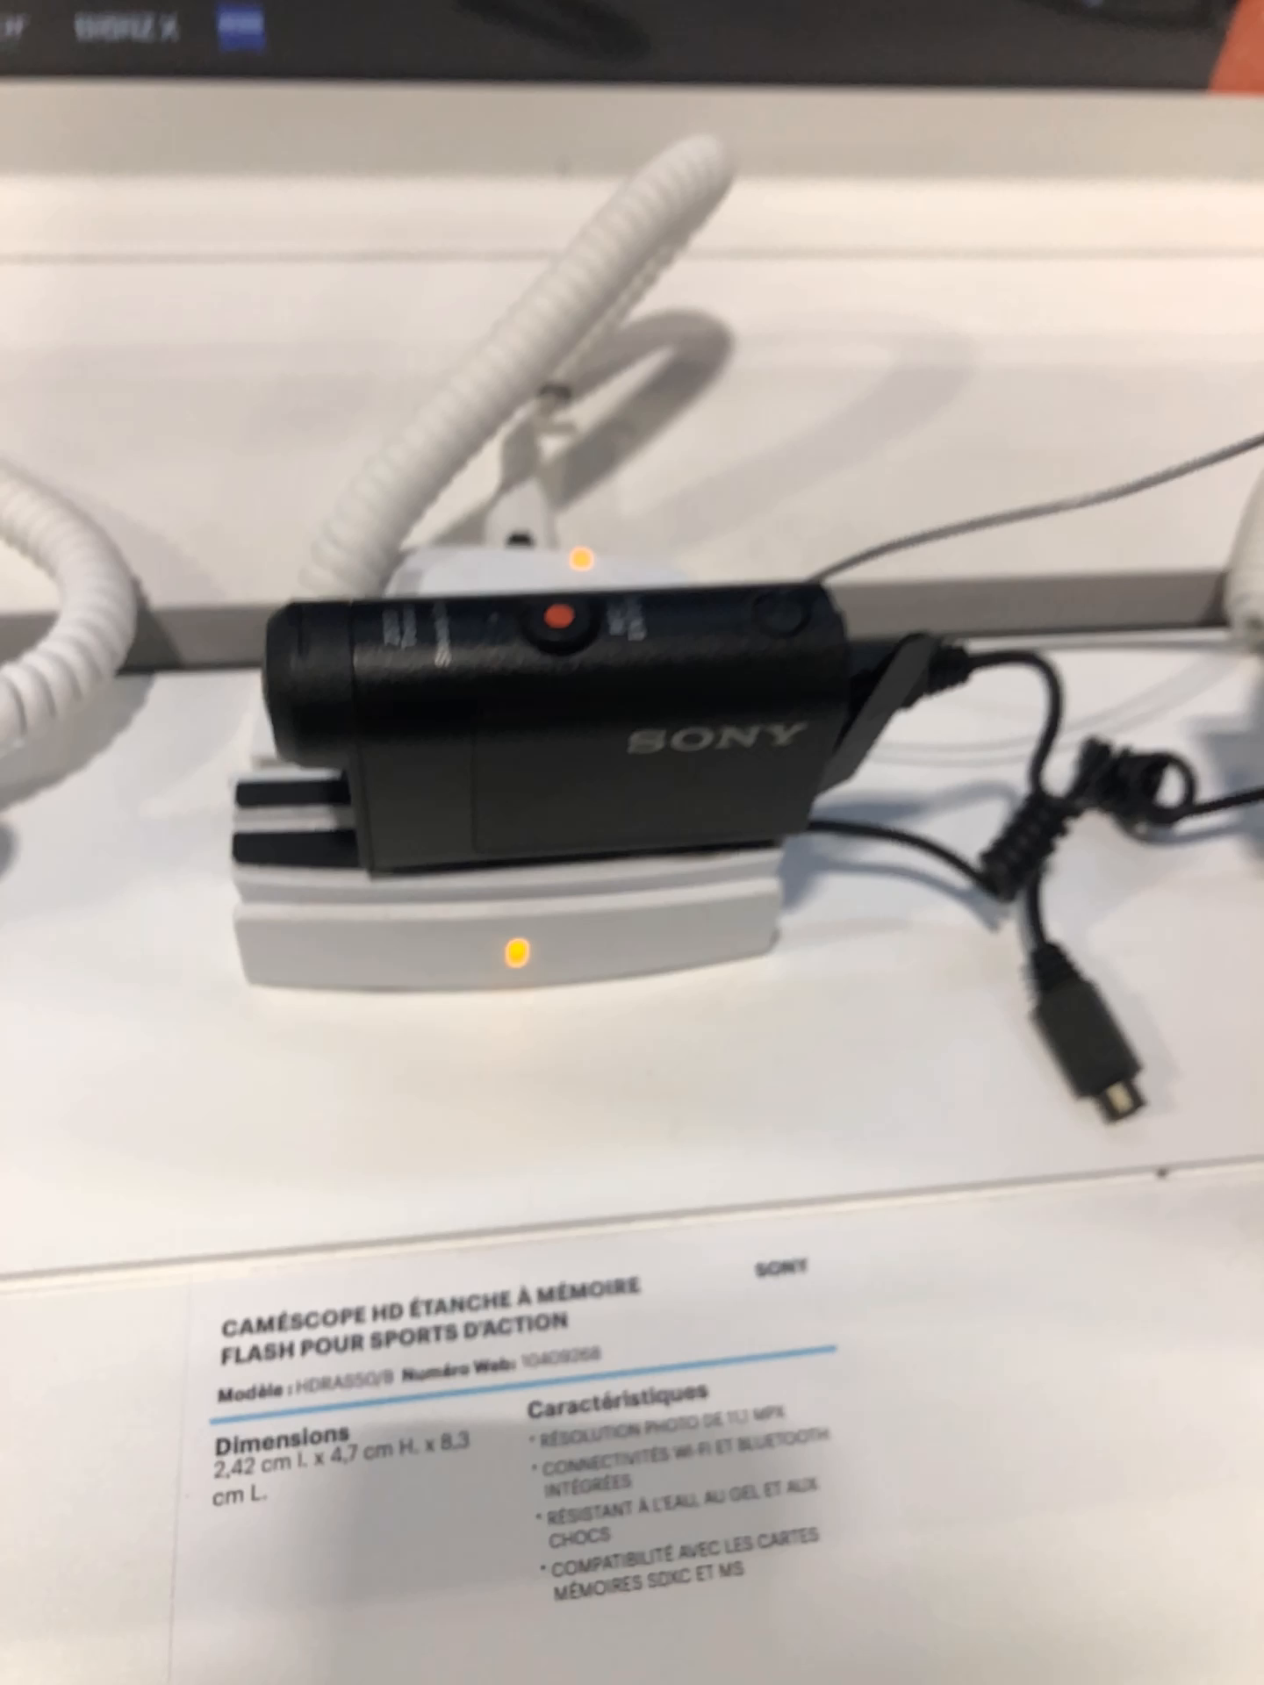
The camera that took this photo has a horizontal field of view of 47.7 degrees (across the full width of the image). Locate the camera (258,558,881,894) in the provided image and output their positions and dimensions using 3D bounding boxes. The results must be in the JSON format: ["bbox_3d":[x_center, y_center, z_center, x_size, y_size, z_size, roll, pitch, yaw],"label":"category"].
[{"bbox_3d":[-0.010,-0.016,0.207,0.080,0.045,0.020,-3,53,-7],"label":"camera"}]
